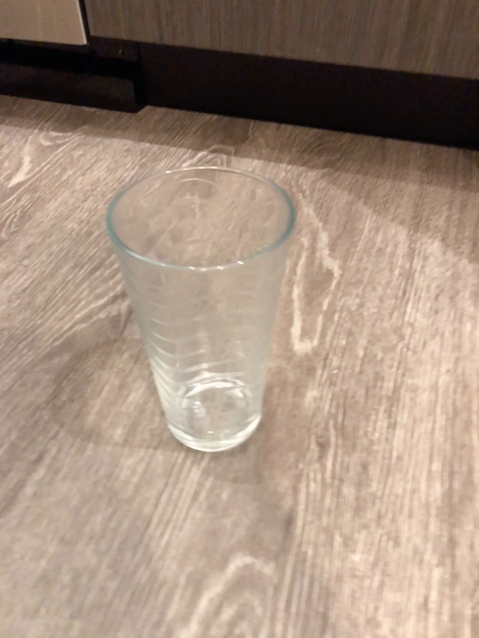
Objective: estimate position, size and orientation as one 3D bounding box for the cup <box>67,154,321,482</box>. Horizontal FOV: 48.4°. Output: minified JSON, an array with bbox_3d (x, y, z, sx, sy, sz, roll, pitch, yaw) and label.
[{"bbox_3d":[-0.016,0.002,0.289,0.090,0.139,0.090,0,44,0],"label":"cup"}]
